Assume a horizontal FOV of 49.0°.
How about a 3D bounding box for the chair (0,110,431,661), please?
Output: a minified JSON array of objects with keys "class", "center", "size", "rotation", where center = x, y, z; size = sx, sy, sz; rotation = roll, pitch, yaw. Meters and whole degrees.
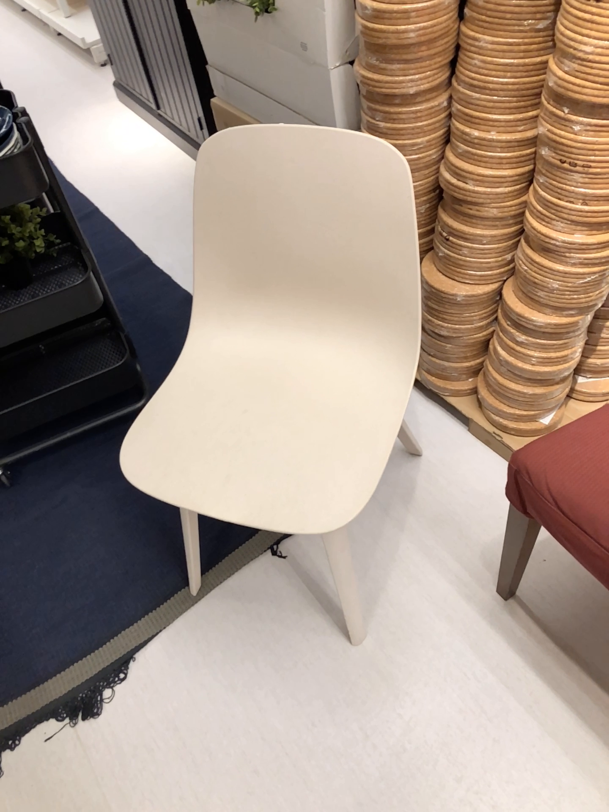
[{"class":"chair","center":[-0.079,-0.014,1.079],"size":[0.451,0.696,0.492],"rotation":[10,53,19]}]
